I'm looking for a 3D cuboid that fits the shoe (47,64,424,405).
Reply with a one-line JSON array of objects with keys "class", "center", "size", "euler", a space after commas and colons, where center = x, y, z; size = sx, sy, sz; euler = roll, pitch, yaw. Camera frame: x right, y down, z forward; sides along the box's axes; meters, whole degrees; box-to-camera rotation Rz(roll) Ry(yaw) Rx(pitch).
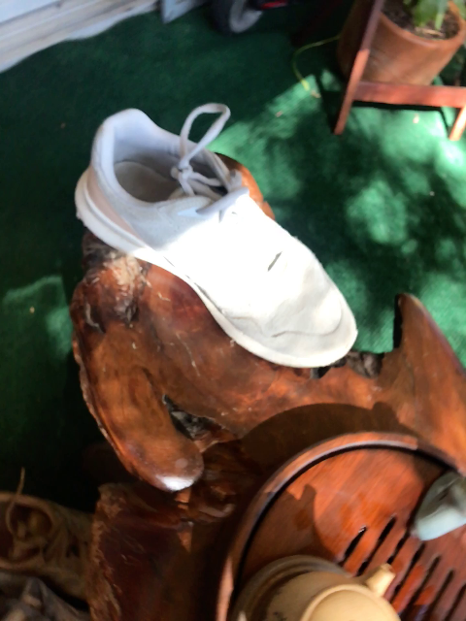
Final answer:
[{"class": "shoe", "center": [-0.004, -0.059, 0.402], "size": [0.263, 0.091, 0.103], "euler": [37, 61, 6]}]
